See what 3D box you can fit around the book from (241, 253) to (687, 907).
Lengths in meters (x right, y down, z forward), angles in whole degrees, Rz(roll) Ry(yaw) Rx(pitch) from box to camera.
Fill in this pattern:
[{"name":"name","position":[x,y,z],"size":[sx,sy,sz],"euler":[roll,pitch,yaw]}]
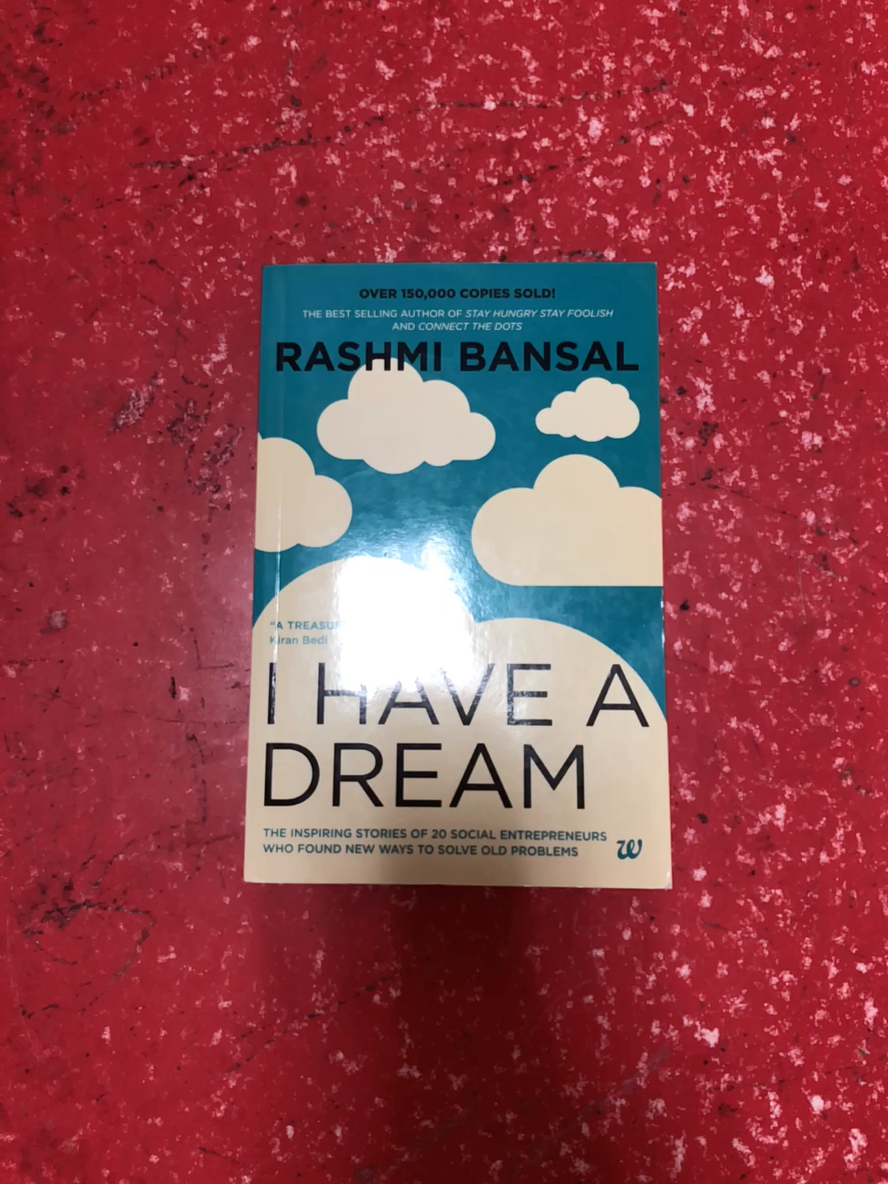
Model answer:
[{"name":"book","position":[0.006,-0.006,0.318],"size":[0.130,0.030,0.200],"euler":[0,83,1]}]
